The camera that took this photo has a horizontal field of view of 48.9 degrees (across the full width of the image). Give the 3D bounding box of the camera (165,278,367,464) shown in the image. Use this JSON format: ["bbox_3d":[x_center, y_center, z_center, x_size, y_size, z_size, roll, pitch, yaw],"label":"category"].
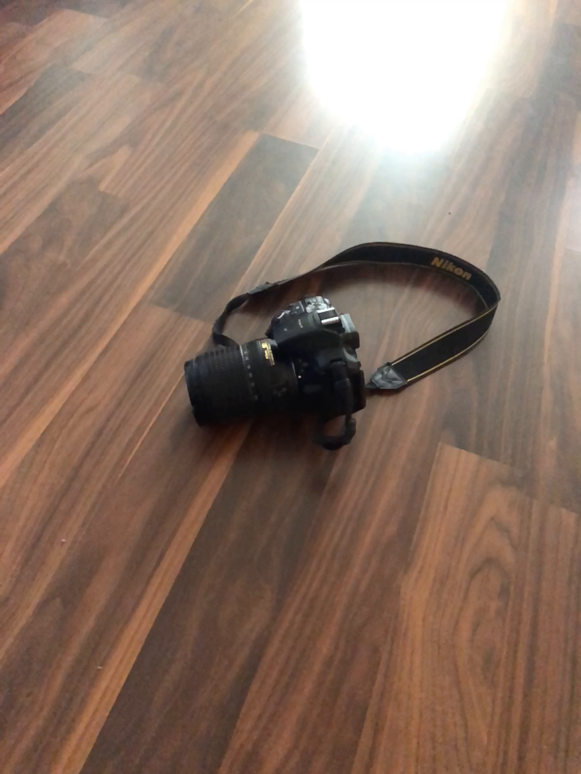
[{"bbox_3d":[-0.027,-0.016,0.683,0.180,0.130,0.110,-11,54,-8],"label":"camera"}]
